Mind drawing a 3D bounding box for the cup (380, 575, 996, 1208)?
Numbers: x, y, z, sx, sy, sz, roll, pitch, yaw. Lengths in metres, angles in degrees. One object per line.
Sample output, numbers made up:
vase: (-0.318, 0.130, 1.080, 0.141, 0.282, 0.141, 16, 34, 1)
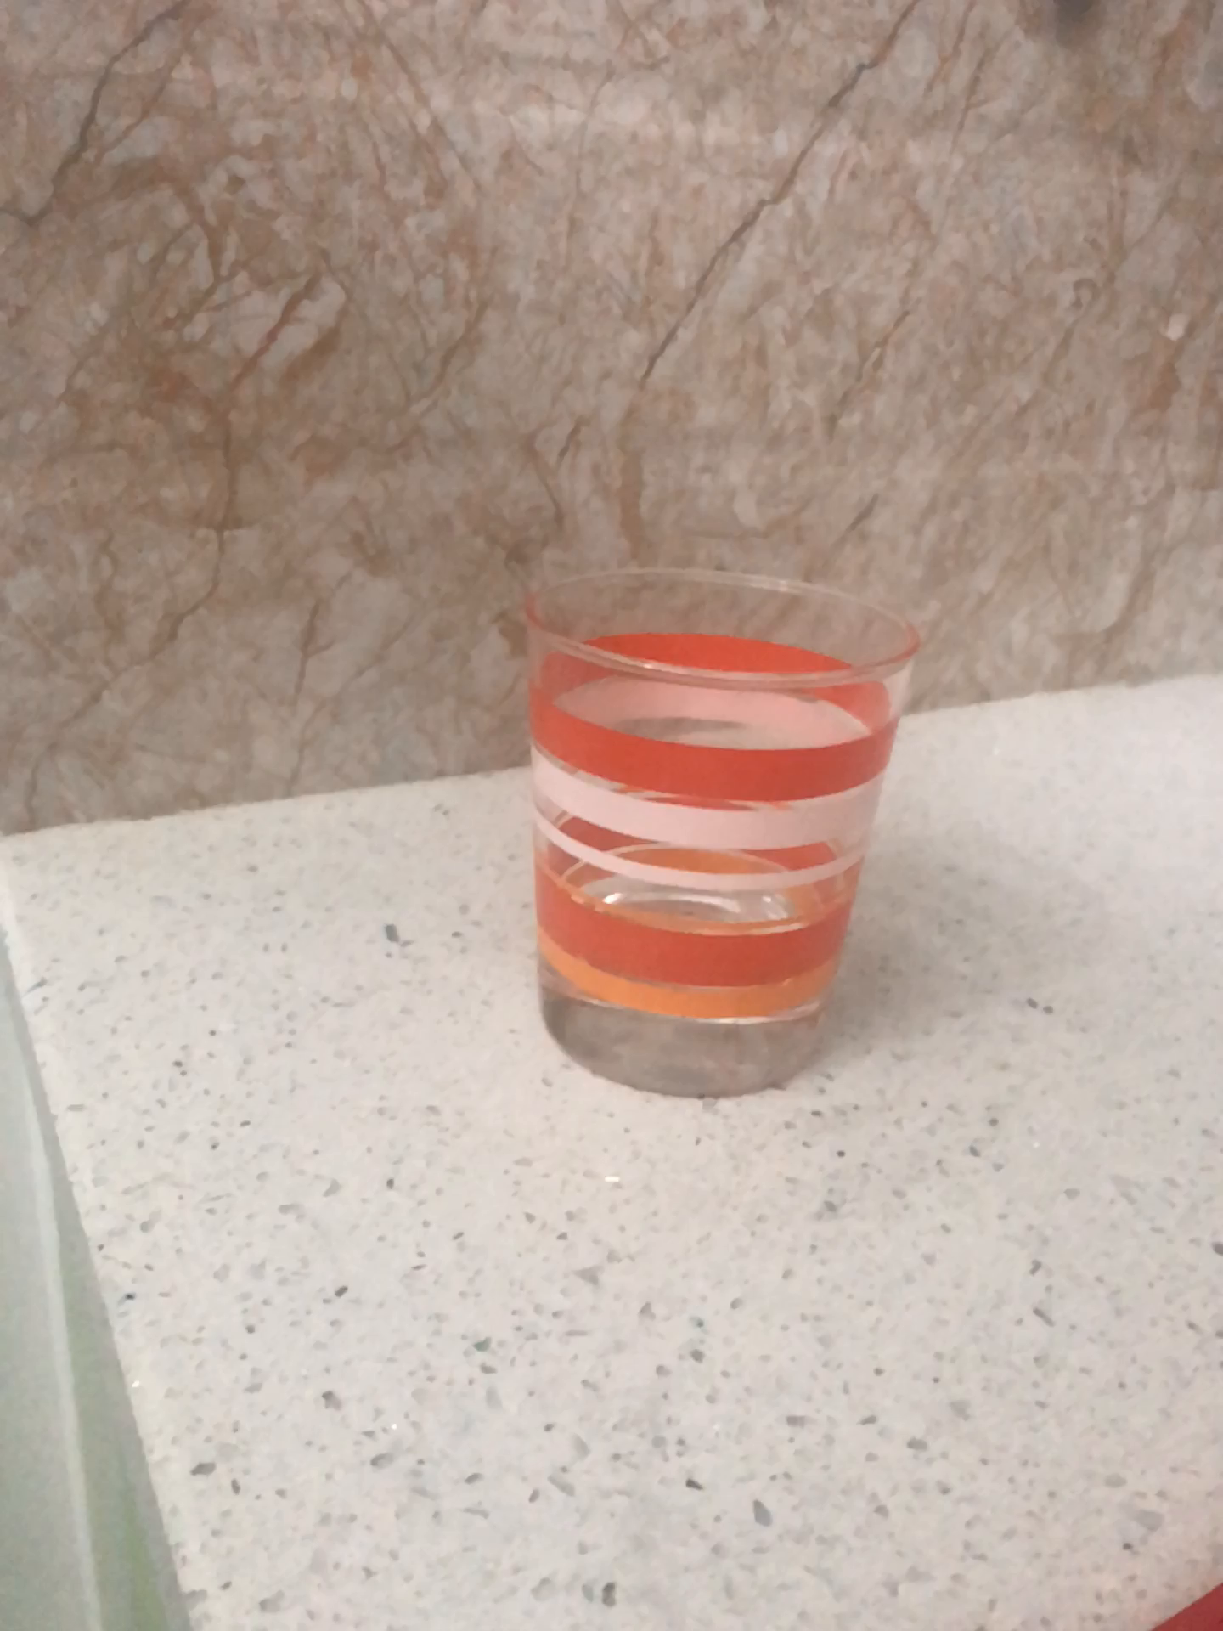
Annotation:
cup: (0.011, 0.007, 0.284, 0.090, 0.090, 0.080, -13, 28, -35)
